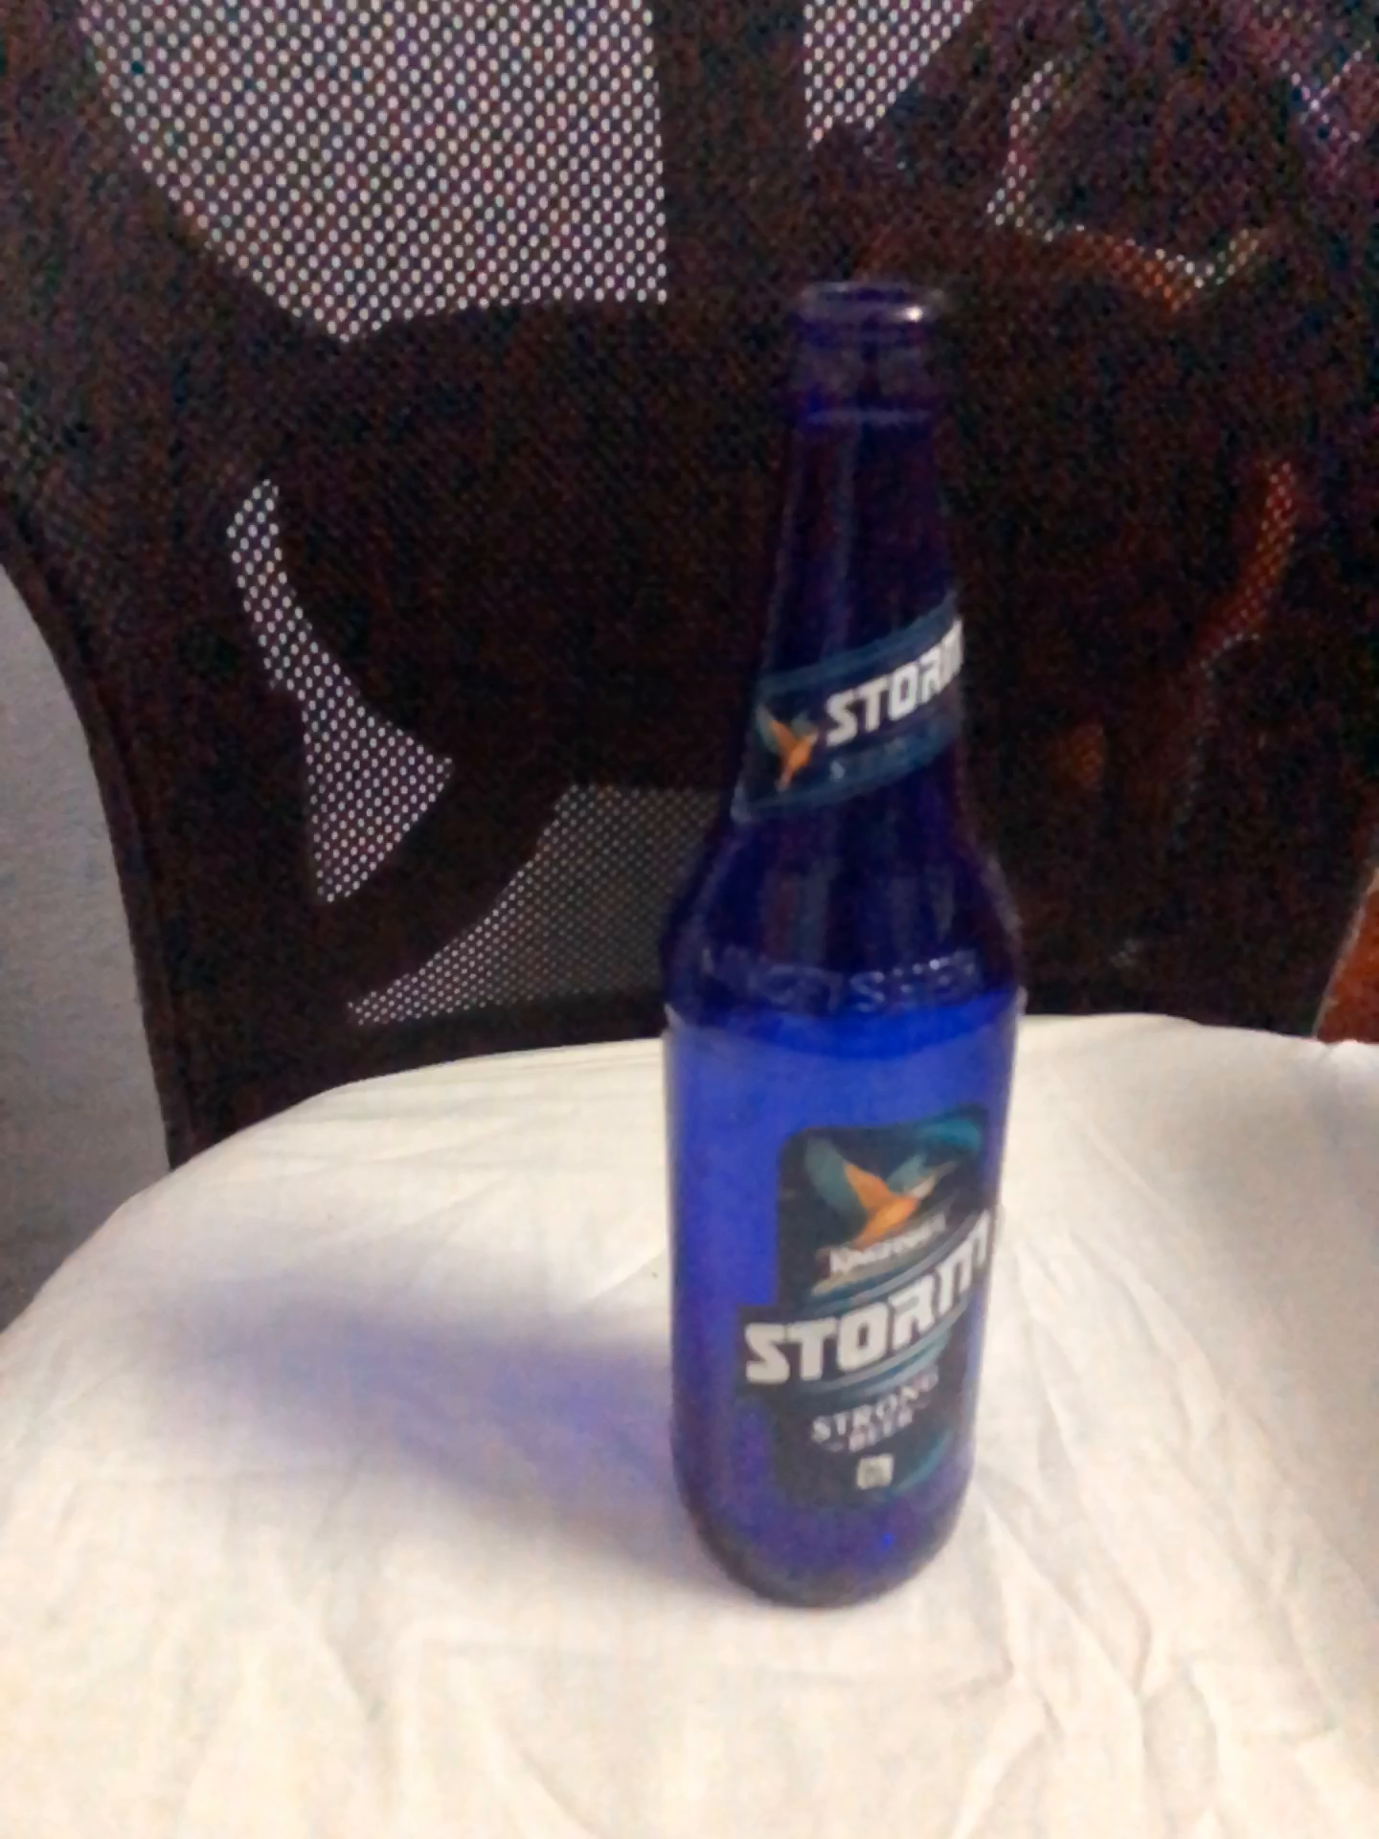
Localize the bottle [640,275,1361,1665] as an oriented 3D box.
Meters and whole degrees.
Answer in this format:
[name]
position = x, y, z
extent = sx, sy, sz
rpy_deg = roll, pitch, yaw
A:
[bottle]
position = 0.036, 0.025, 0.282
extent = 0.080, 0.259, 0.070
rpy_deg = -4, 33, -9
